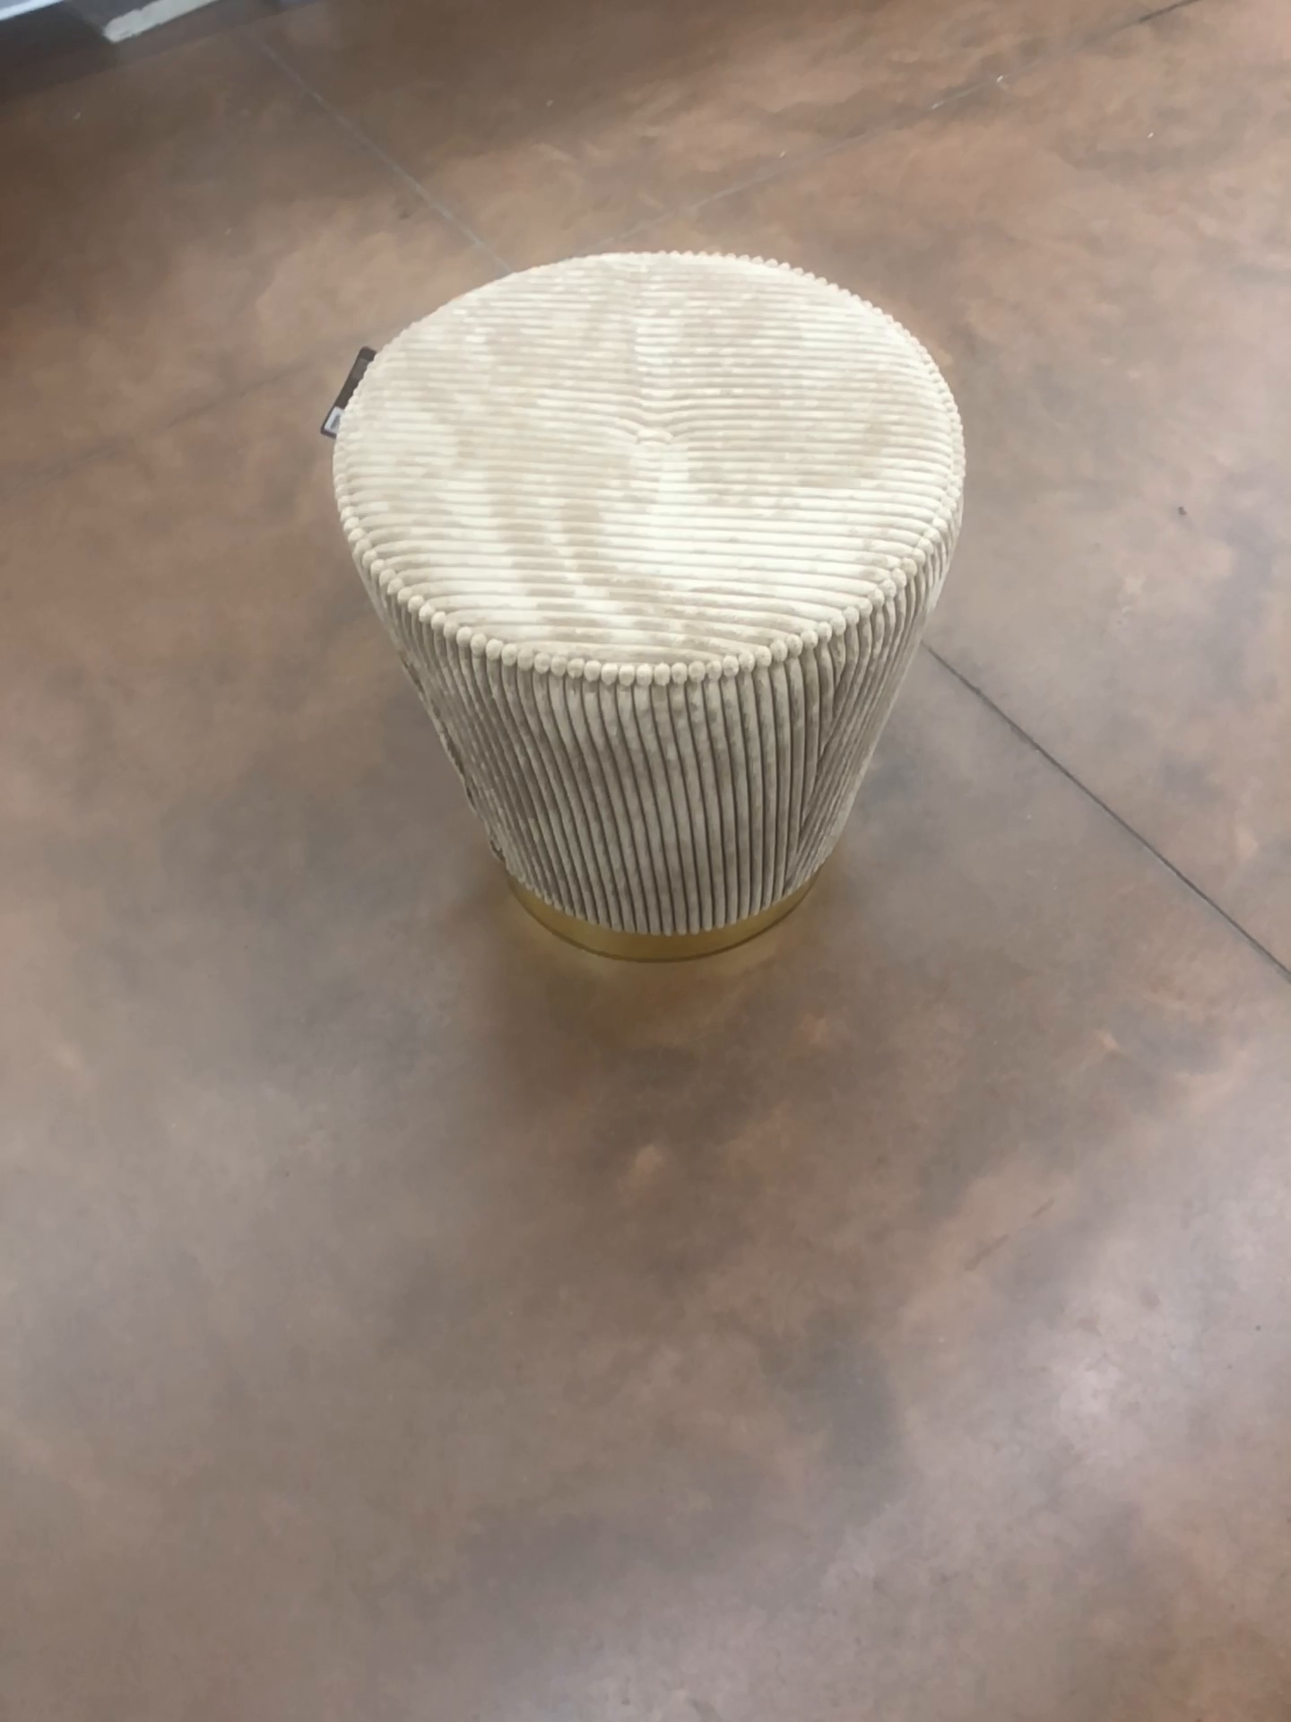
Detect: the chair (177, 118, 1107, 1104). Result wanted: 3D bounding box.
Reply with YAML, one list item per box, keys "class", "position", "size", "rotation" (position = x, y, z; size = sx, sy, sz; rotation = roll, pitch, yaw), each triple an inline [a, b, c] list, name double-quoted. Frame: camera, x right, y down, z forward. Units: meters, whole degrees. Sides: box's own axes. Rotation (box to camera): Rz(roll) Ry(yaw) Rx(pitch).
- class: "chair"
  position: [0.006, -0.193, 1.128]
  size: [0.420, 0.479, 0.450]
  rotation: [35, 63, 23]
